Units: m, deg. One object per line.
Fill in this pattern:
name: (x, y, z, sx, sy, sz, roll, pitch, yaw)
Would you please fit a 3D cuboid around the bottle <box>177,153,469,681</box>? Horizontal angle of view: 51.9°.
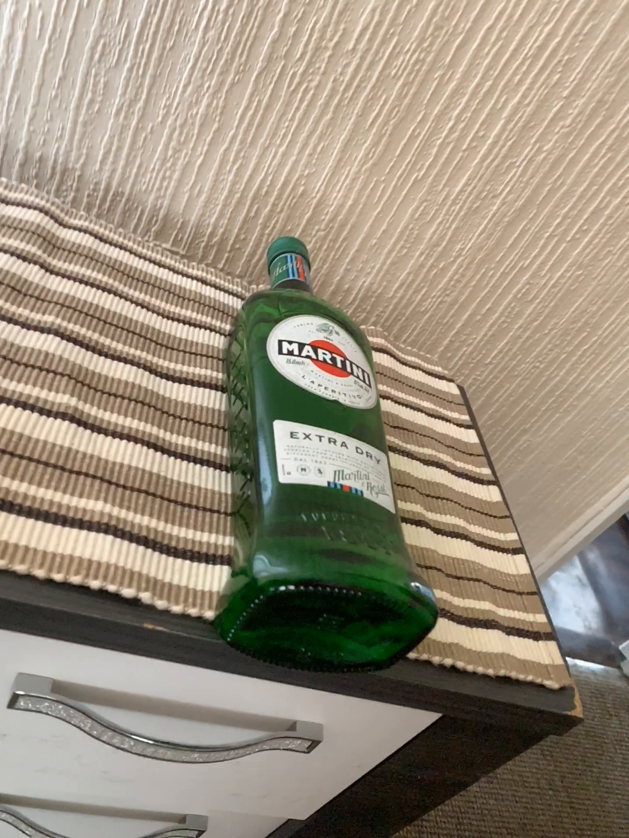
bottle: (-0.007, -0.033, 0.363, 0.090, 0.069, 0.323, 19, 40, -21)
